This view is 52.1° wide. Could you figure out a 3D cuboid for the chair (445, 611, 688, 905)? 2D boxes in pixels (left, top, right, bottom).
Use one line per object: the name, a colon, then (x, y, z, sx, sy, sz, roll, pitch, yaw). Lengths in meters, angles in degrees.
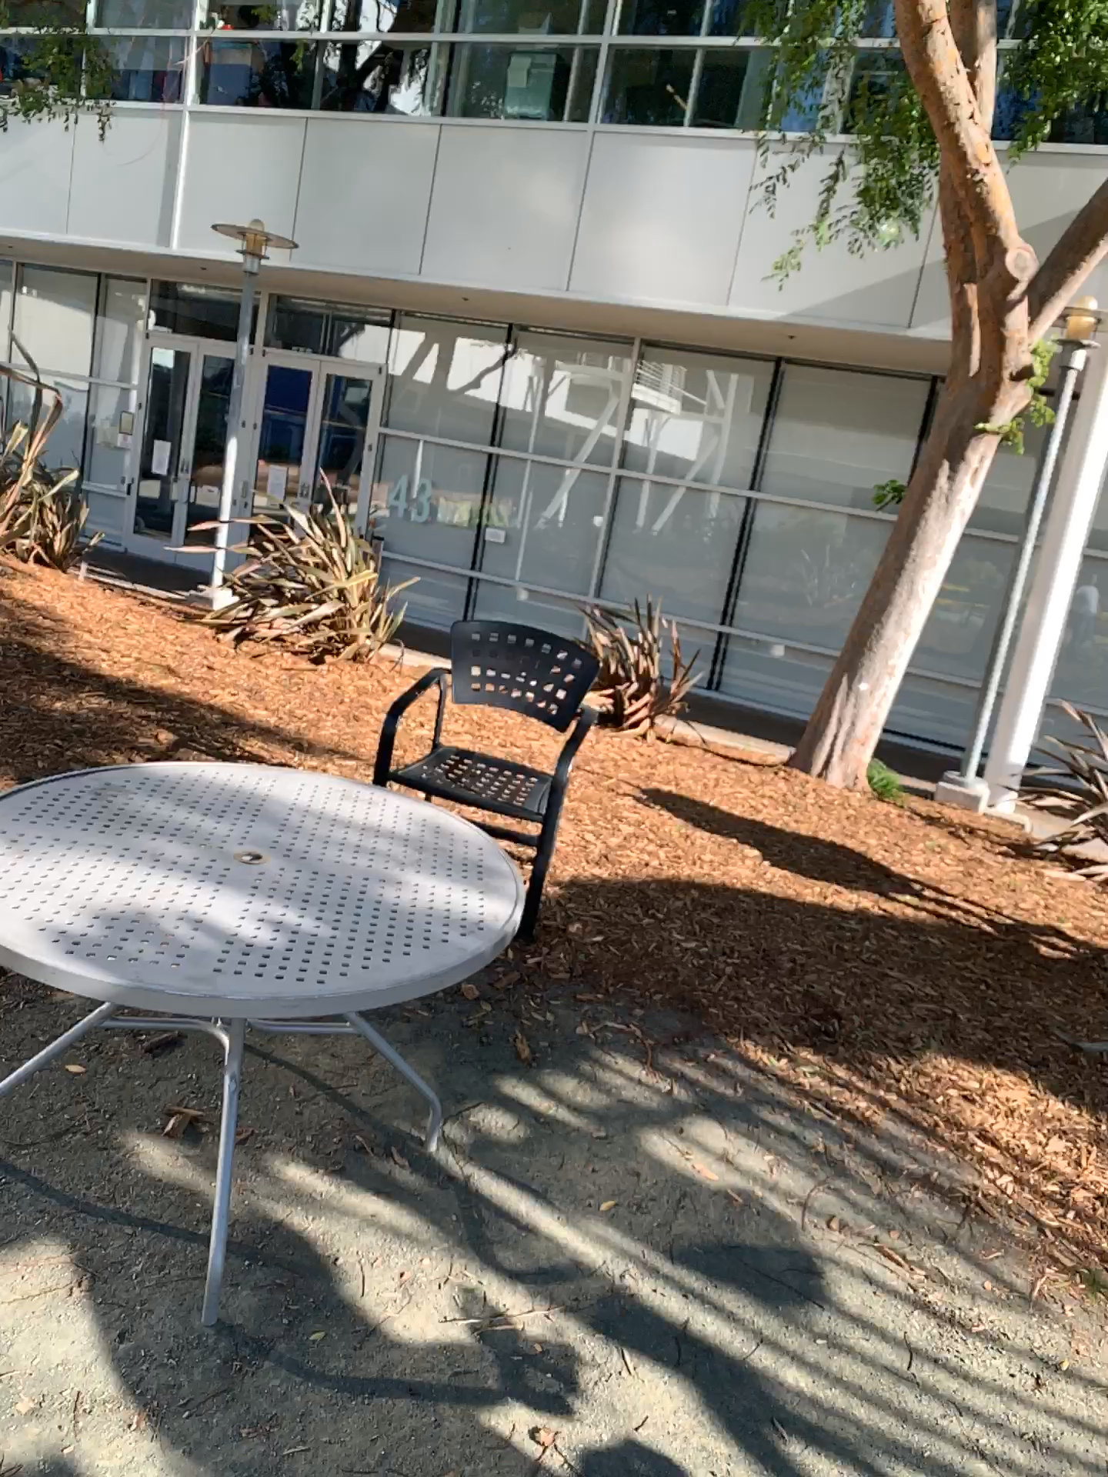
chair: (0.051, 0.031, 3.469, 0.520, 0.718, 0.501, 13, 12, 12)
